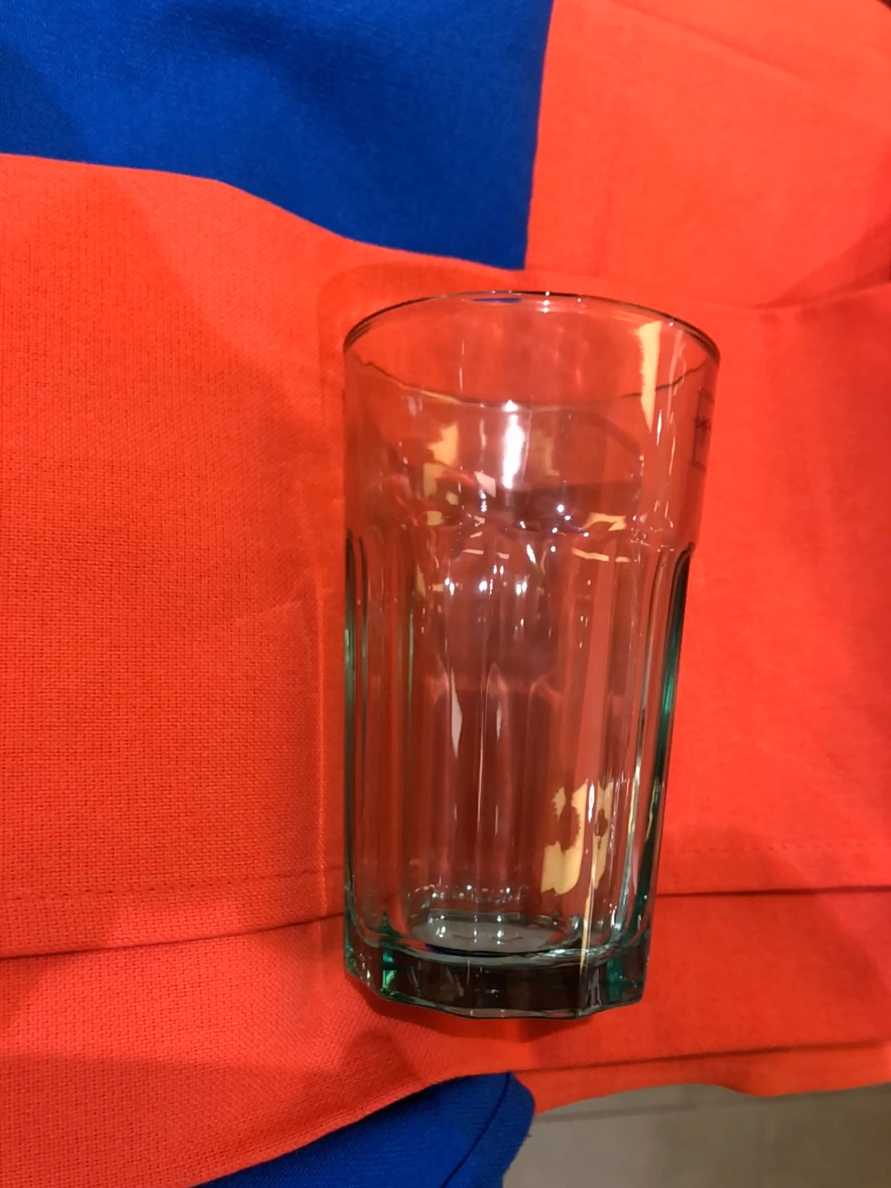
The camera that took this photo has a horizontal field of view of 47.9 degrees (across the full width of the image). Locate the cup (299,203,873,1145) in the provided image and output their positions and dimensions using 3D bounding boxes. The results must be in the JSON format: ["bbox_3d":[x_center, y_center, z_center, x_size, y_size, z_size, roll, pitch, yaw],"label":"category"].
[{"bbox_3d":[0.028,0.016,0.210,0.090,0.070,0.150,6,82,-24],"label":"cup"}]
